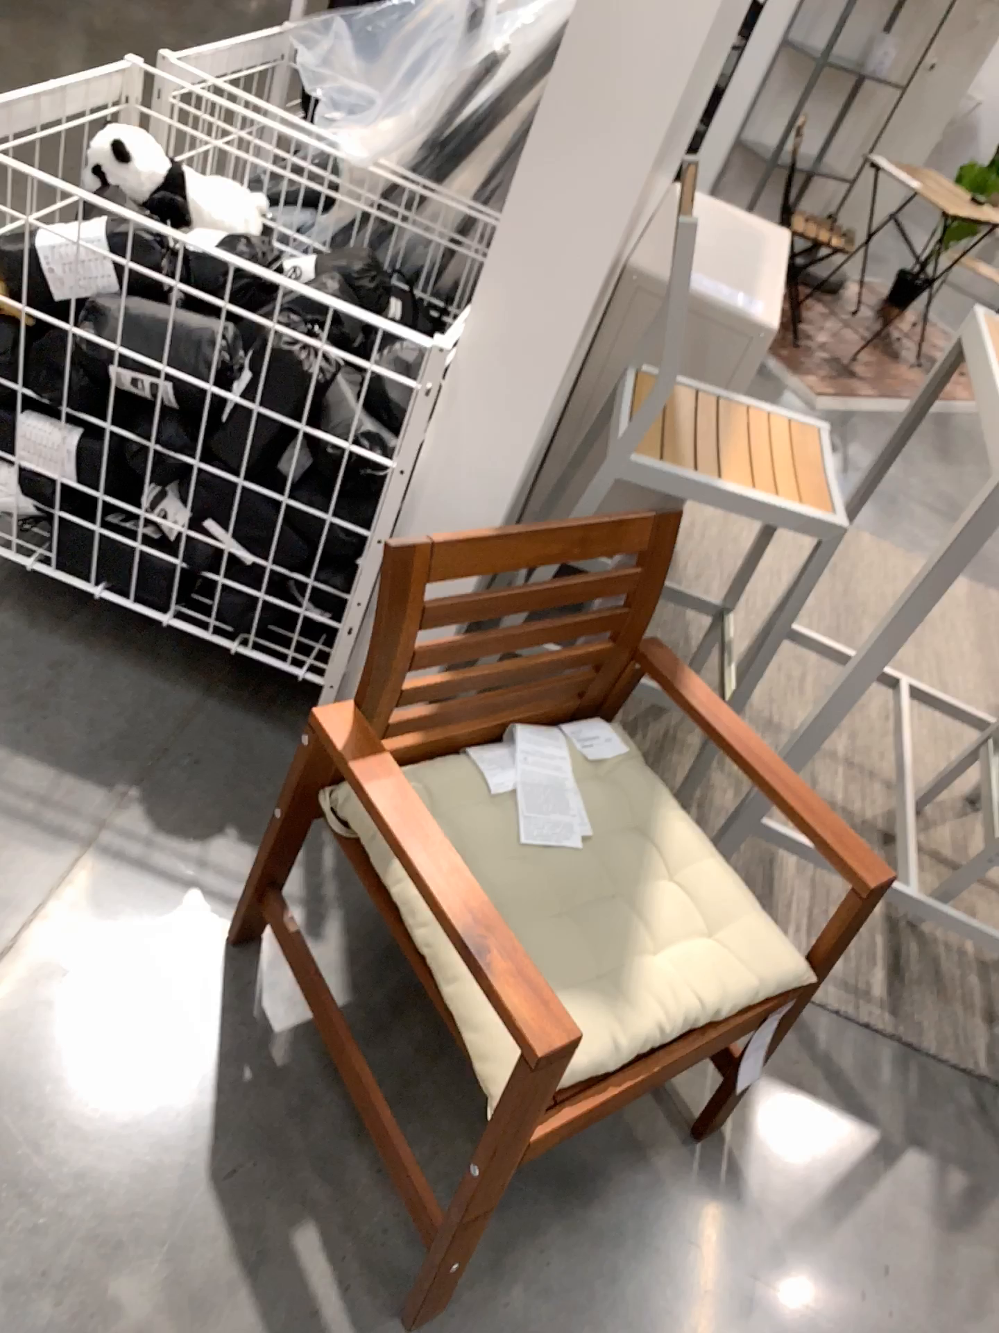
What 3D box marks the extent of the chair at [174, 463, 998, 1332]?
[{"bbox_3d":[0.075,0.261,1.348,0.652,0.706,0.721,-13,53,-38],"label":"chair"}]
